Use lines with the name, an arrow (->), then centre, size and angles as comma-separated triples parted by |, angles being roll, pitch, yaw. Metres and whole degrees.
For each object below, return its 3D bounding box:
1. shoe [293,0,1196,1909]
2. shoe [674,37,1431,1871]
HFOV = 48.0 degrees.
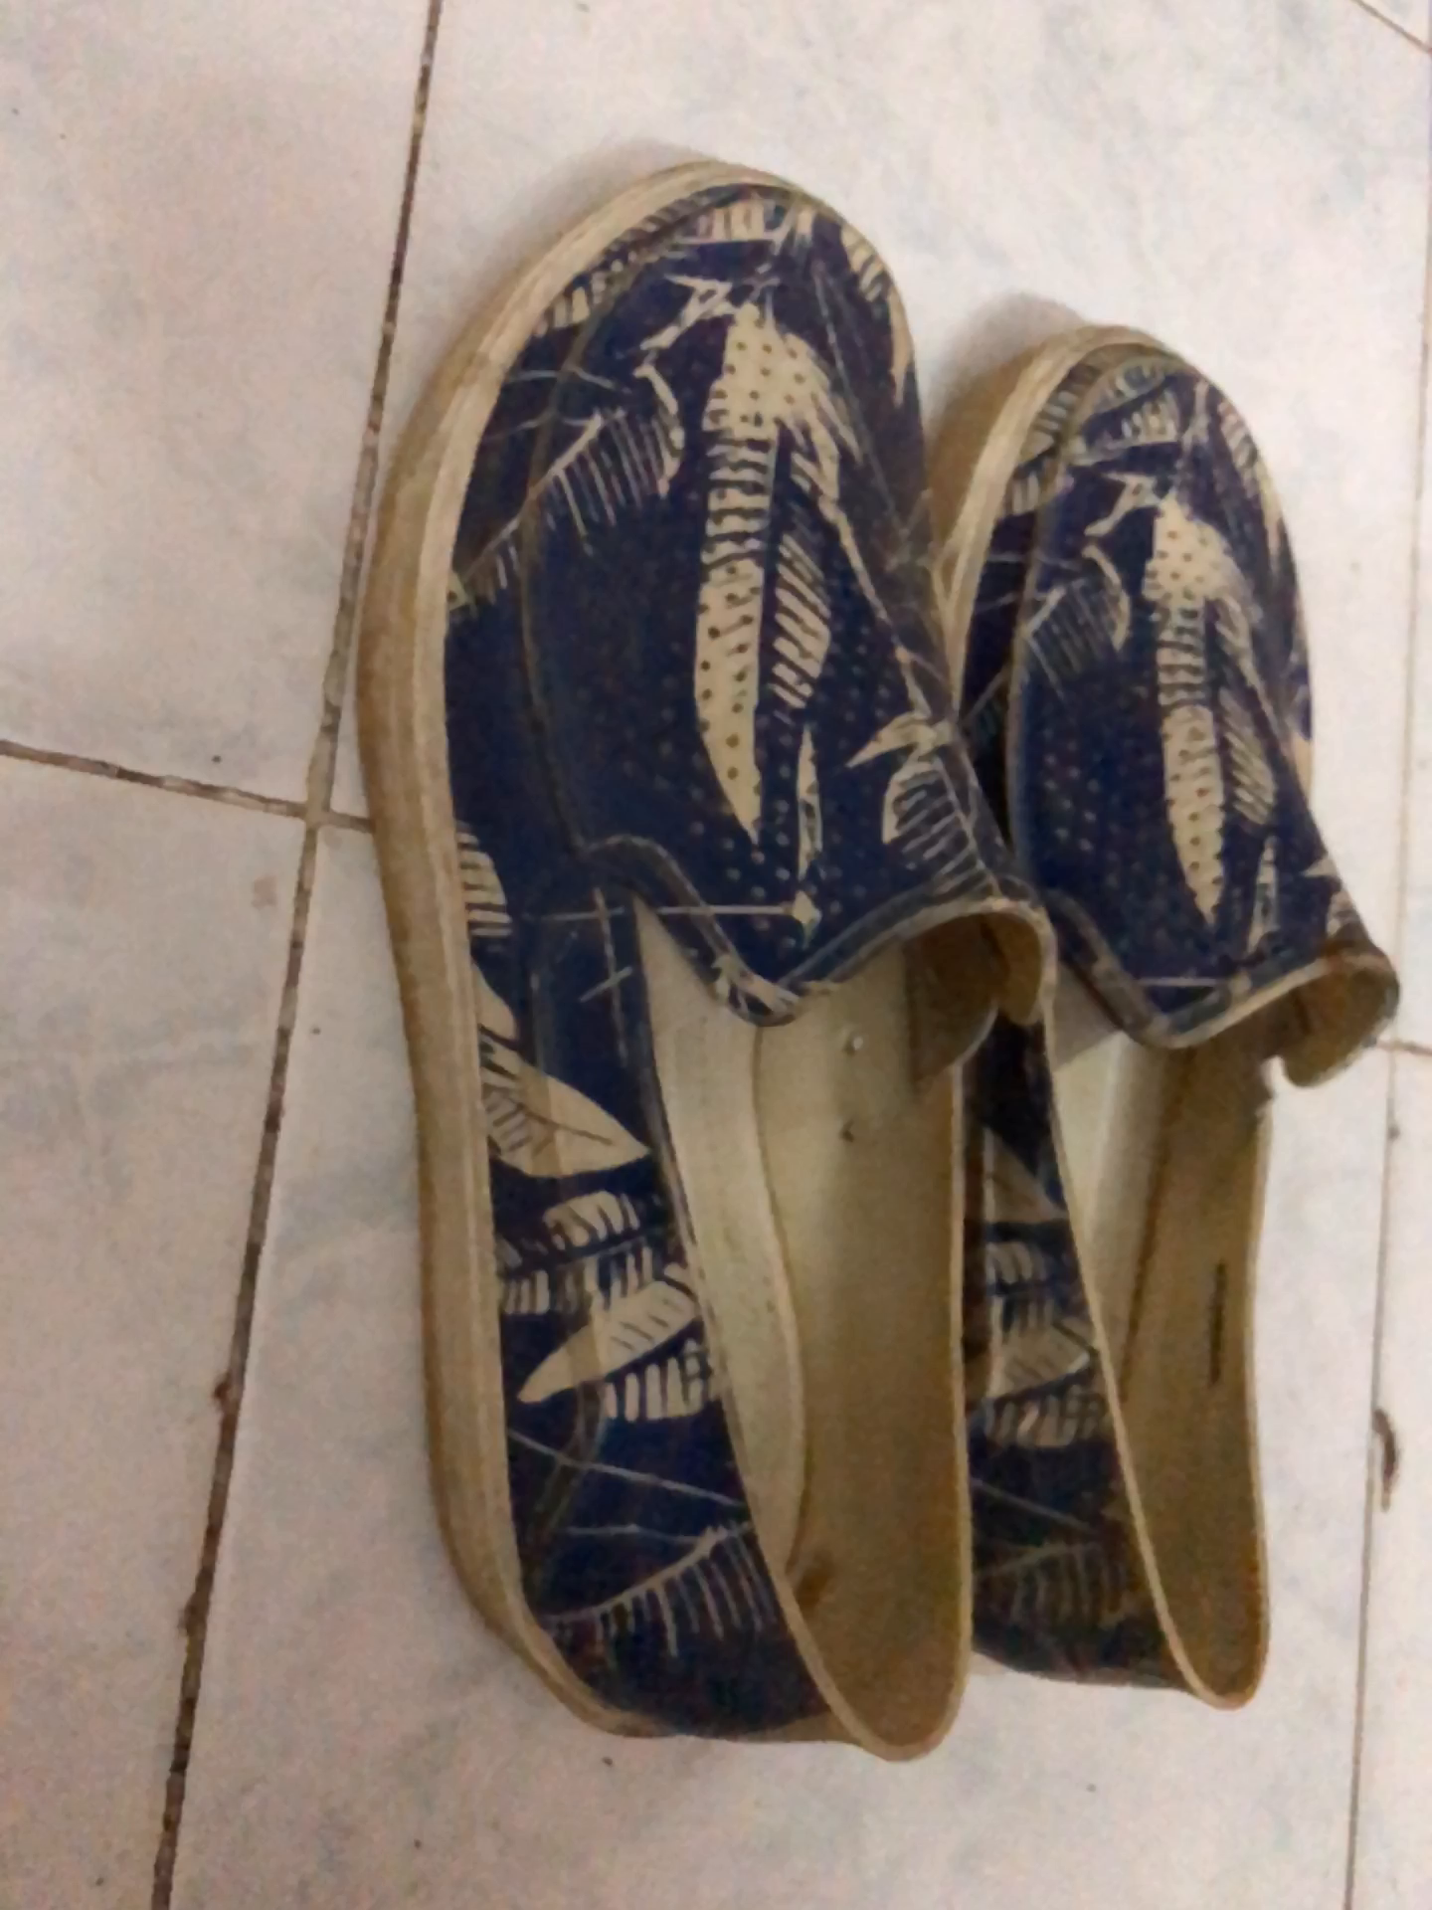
shoe -> 0.003, -0.018, 0.276 | 0.110, 0.100, 0.310 | 4, 83, -31
shoe -> 0.086, 0.001, 0.322 | 0.110, 0.100, 0.300 | 14, 78, -22
